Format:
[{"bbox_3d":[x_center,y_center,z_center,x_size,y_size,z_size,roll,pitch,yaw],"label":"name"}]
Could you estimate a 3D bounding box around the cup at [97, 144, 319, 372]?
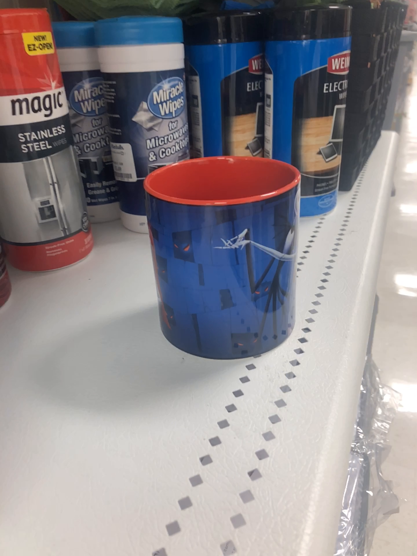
[{"bbox_3d":[0.014,-0.028,0.334,0.113,0.103,0.148,5,29,15],"label":"cup"}]
